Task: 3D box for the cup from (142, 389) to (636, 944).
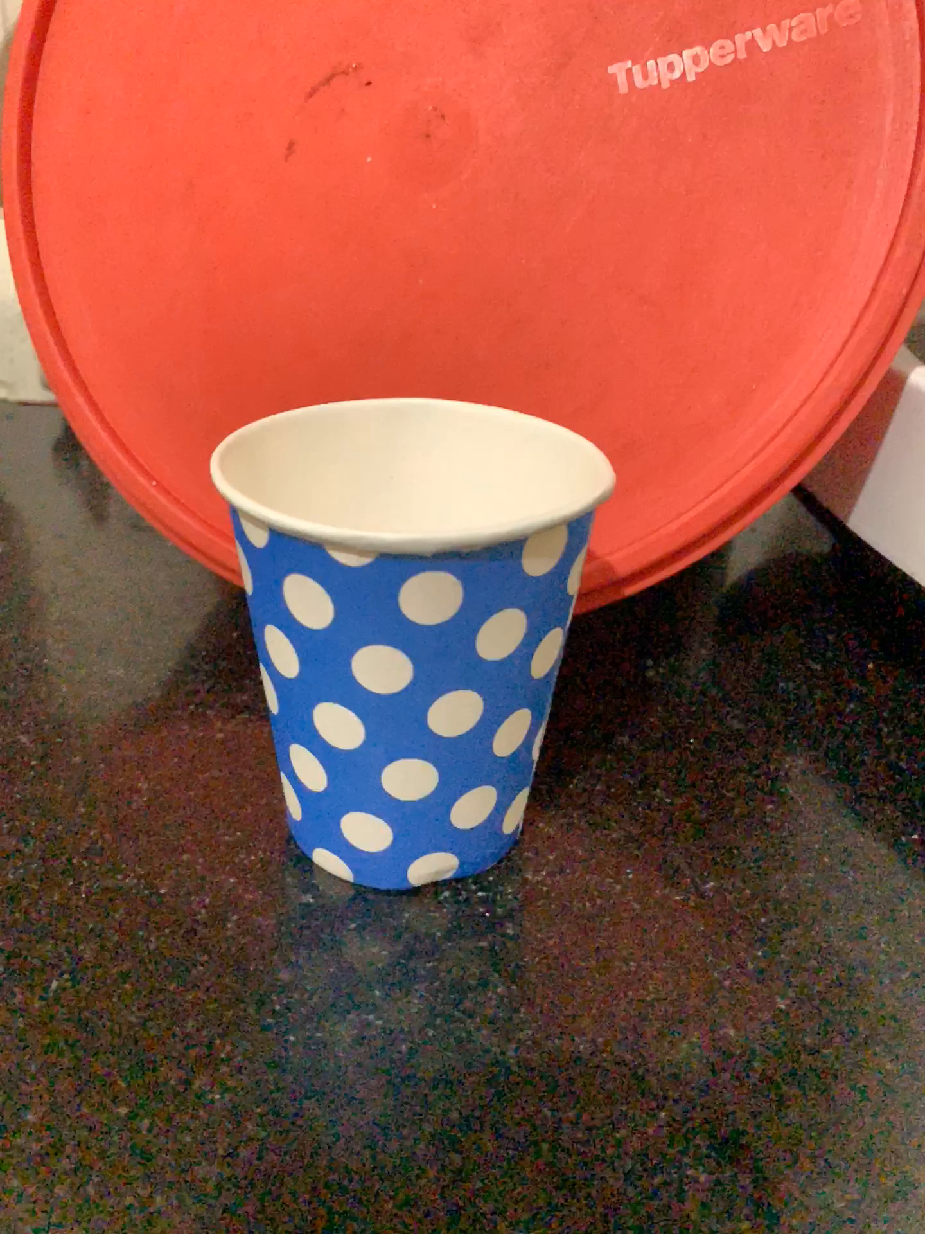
[{"bbox_3d":[-0.014,0.006,0.187,0.070,0.079,0.071,3,28,-1],"label":"cup"}]
